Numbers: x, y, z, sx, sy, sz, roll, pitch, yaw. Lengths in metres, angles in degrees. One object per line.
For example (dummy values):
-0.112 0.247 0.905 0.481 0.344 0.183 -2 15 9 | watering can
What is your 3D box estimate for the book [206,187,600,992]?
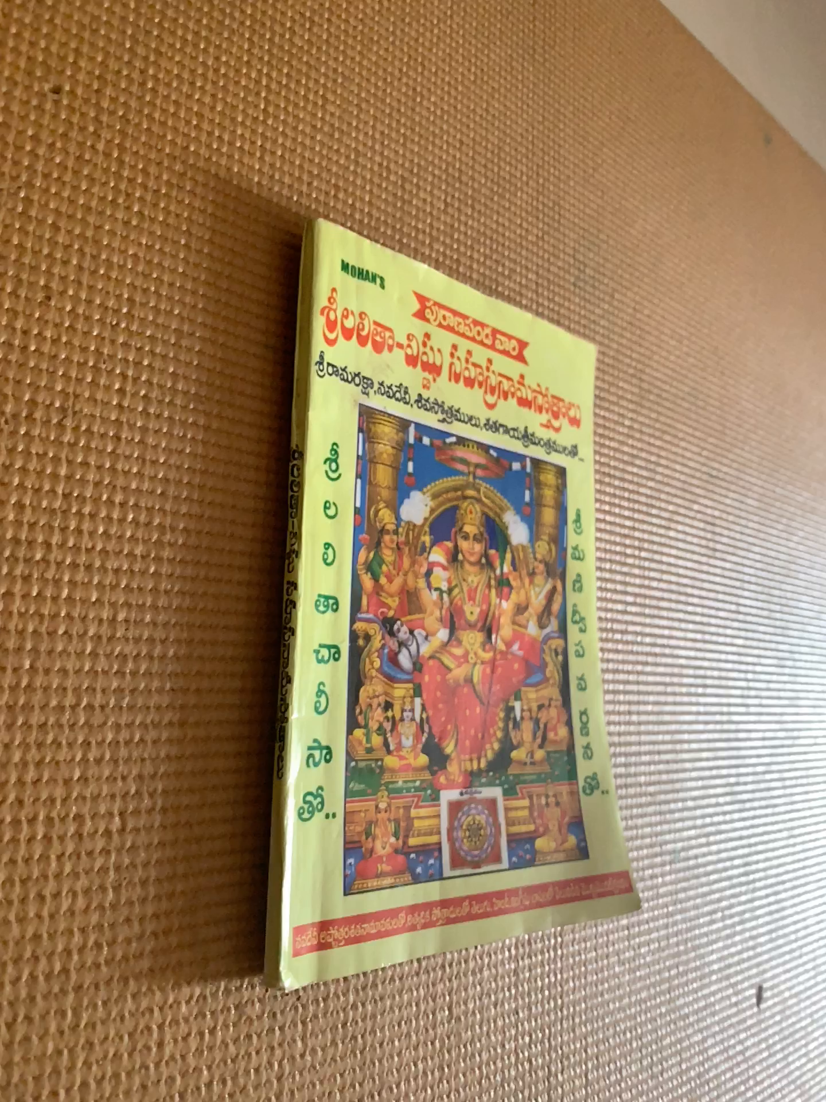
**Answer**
0.007 0.011 0.277 0.141 0.020 0.210 10 76 -42 | book
